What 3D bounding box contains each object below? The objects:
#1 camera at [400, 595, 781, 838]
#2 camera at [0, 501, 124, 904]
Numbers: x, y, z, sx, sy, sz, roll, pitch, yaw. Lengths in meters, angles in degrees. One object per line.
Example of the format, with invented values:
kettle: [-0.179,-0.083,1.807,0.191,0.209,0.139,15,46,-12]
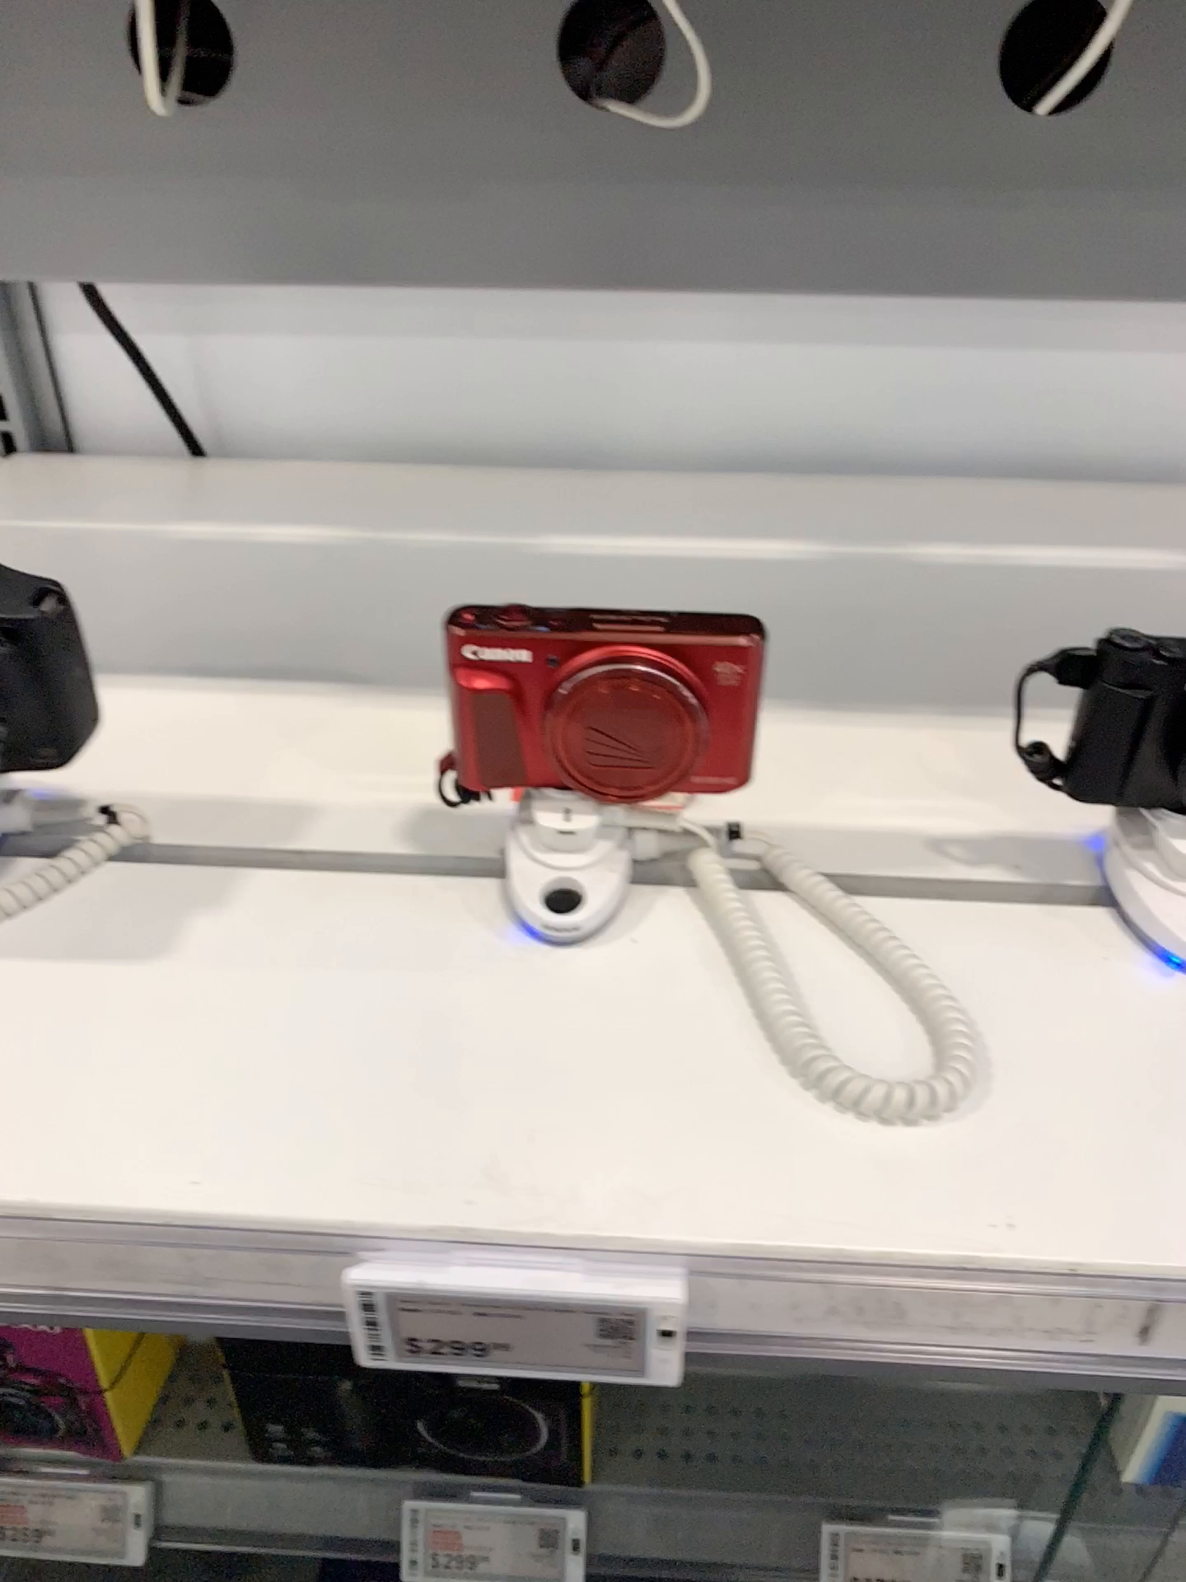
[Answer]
camera: [0.000,-0.026,0.424,0.120,0.070,0.040,2,34,3]
camera: [-0.239,-0.032,0.400,0.120,0.089,0.101,1,34,2]
